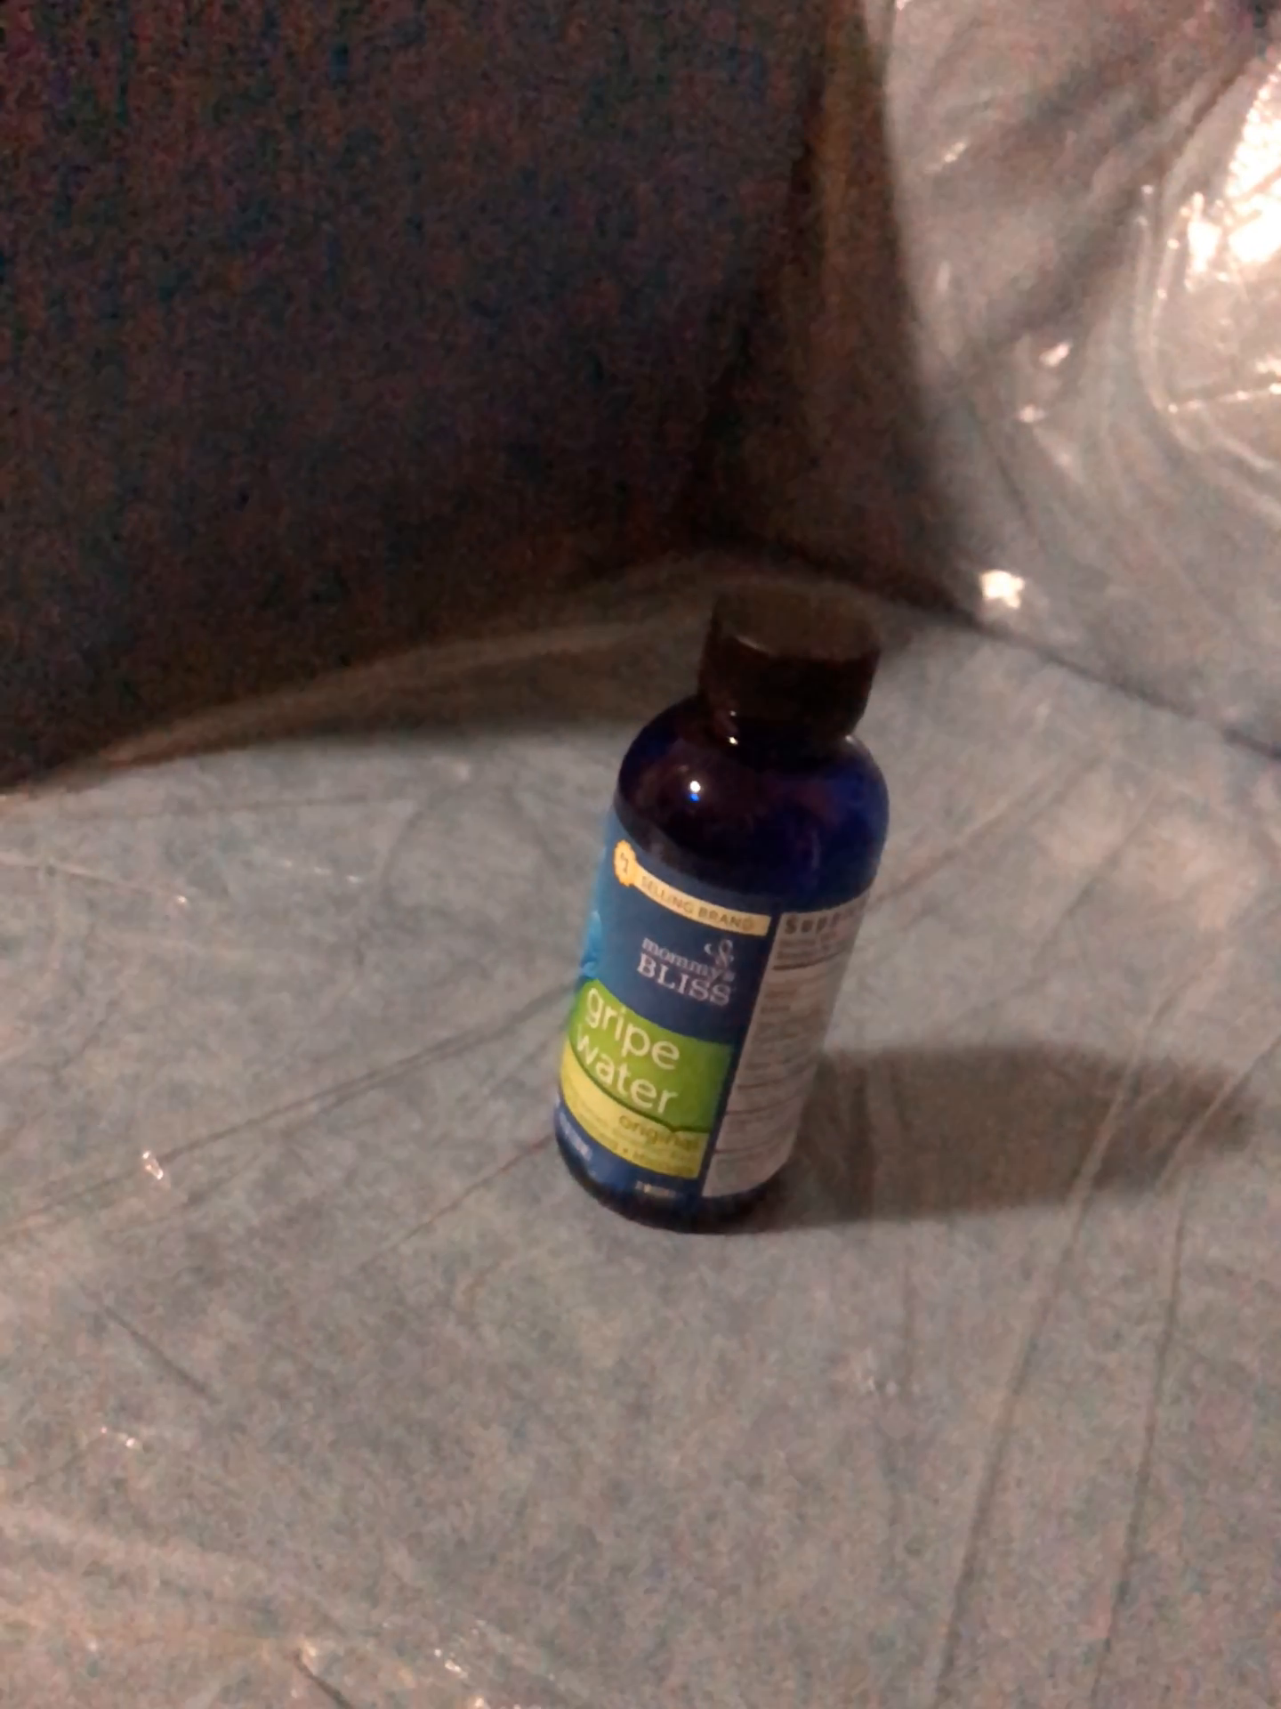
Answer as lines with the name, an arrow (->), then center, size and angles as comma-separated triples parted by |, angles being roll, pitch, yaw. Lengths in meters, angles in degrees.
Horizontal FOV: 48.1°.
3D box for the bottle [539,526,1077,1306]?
bottle -> 0.022, 0.012, 0.250 | 0.050, 0.120, 0.050 | 6, 34, -4
